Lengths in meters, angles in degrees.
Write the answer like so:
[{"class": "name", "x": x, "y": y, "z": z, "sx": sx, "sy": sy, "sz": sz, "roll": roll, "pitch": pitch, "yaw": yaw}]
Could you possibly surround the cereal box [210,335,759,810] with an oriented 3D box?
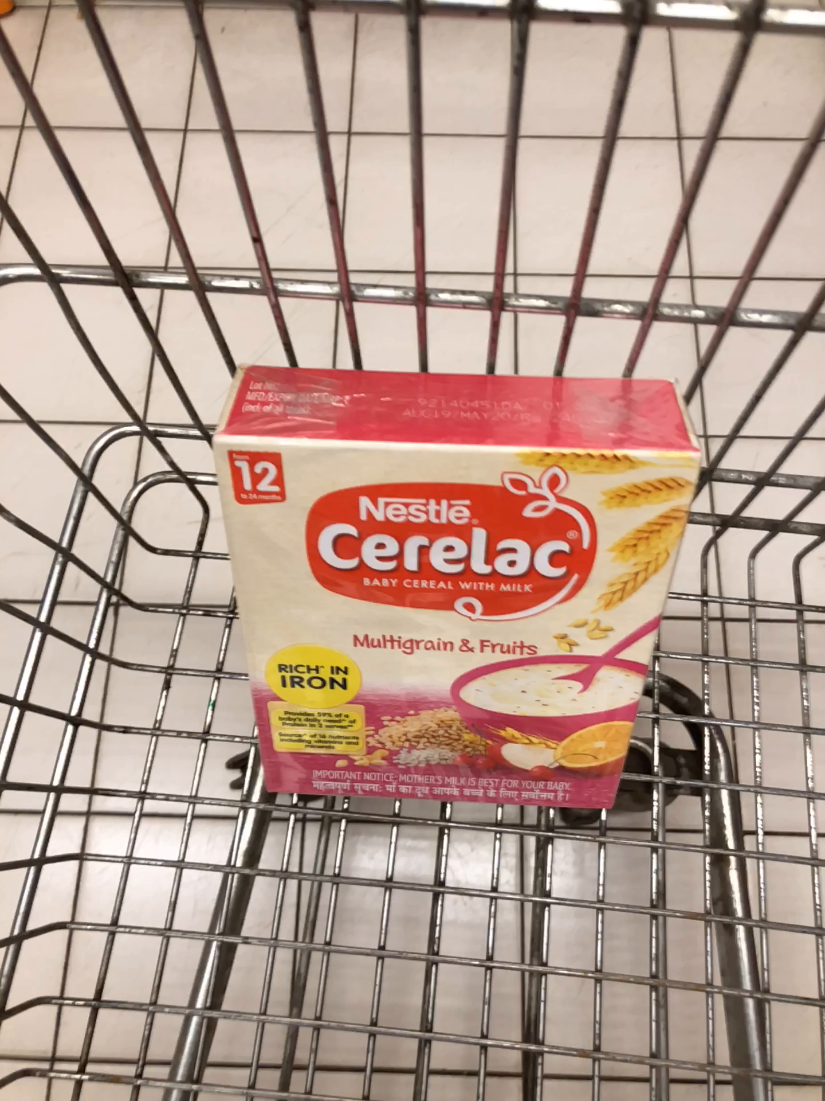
[{"class": "cereal box", "x": 0.020, "y": 0.019, "z": 0.347, "sx": 0.160, "sy": 0.189, "sz": 0.050, "roll": 3, "pitch": 41, "yaw": 1}]
